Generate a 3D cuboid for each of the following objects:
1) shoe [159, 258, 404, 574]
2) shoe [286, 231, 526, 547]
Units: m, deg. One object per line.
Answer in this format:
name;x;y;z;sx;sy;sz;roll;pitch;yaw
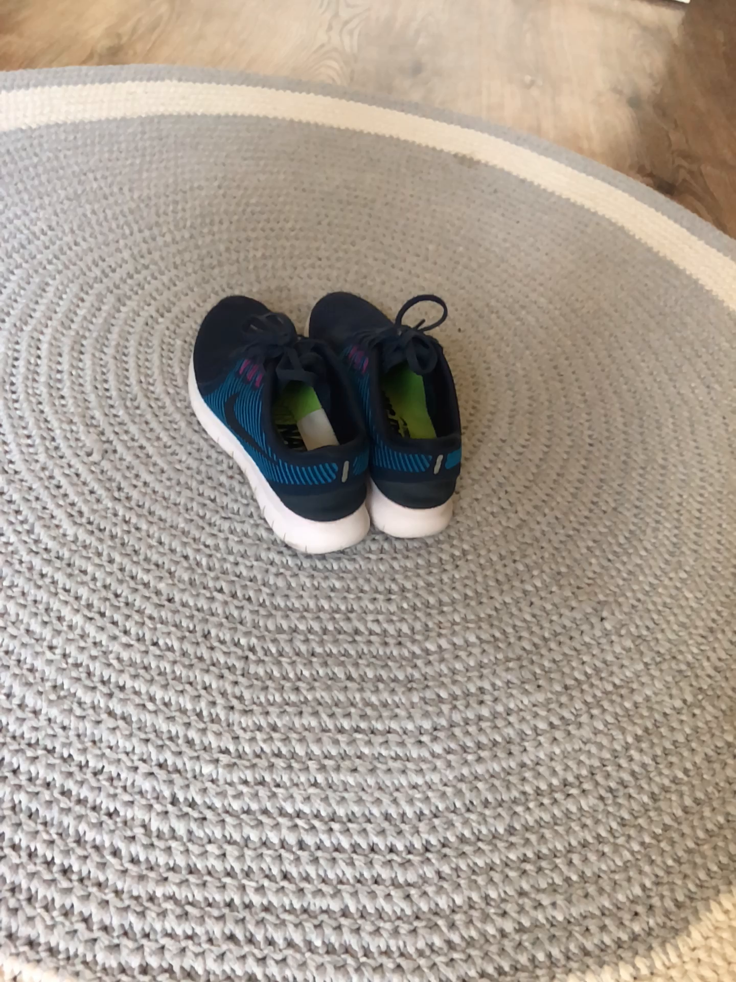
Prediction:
shoe;-0.076;-0.068;0.612;0.100;0.080;0.244;-11;52;-23
shoe;0.015;-0.092;0.633;0.100;0.080;0.271;-4;49;-17
